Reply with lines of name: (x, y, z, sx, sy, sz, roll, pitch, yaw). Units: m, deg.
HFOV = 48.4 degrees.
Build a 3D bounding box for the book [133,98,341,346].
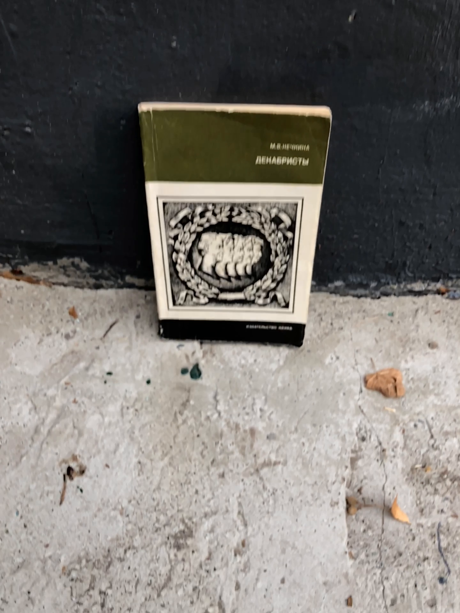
book: (0.003, -0.049, 0.349, 0.120, 0.169, 0.020, 2, 33, 1)
